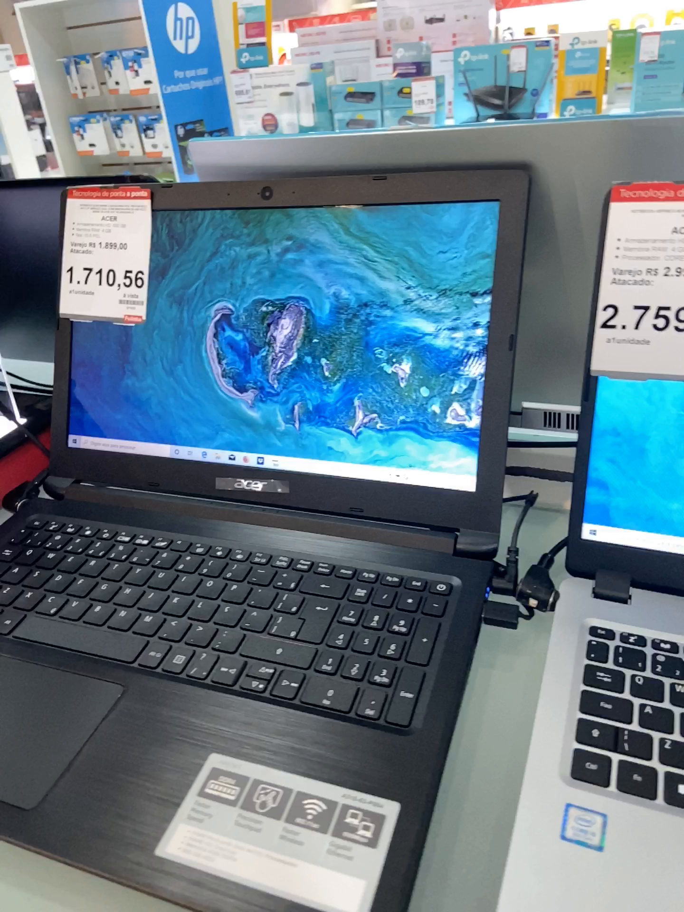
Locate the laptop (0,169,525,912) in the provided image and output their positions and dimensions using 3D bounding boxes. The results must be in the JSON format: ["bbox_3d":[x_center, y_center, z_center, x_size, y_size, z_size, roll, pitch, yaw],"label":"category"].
[{"bbox_3d":[-0.107,-0.014,0.429,0.377,0.216,0.382,5,33,20],"label":"laptop"}]
